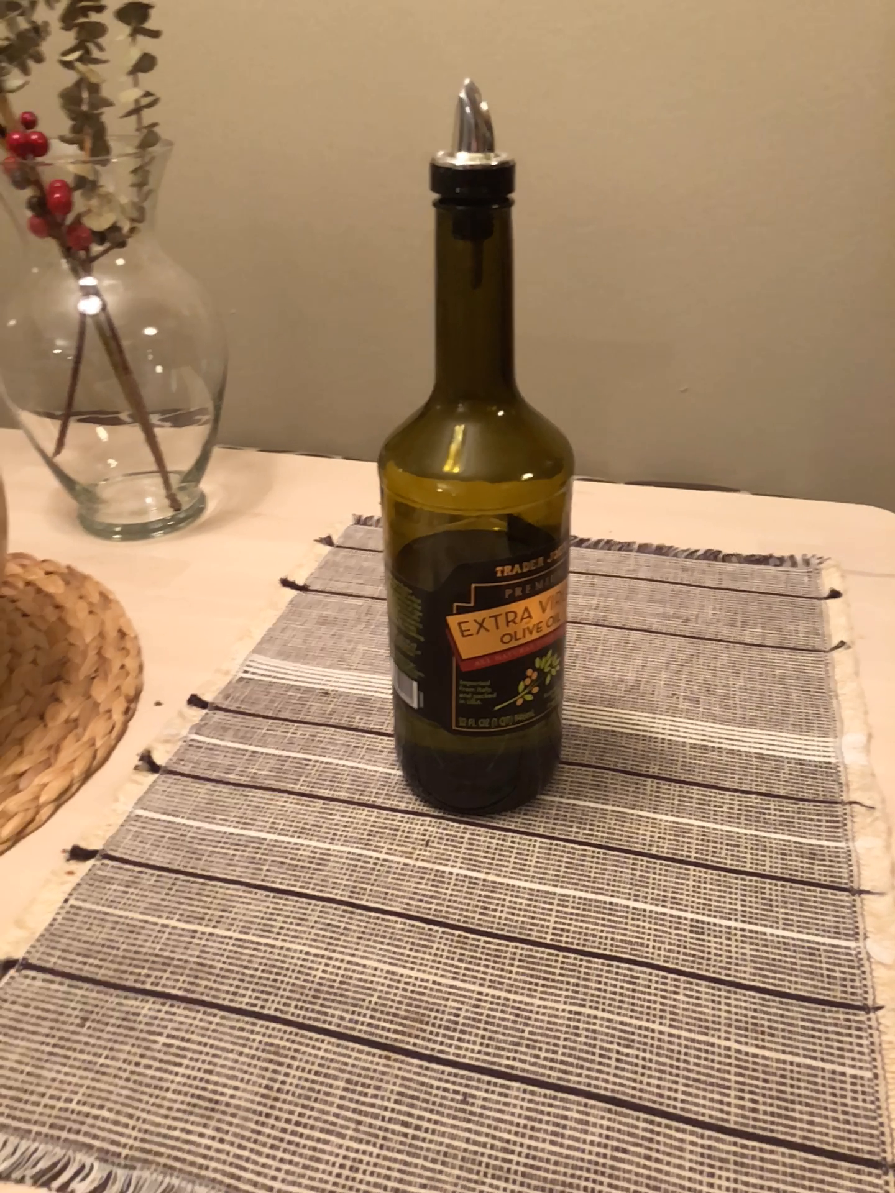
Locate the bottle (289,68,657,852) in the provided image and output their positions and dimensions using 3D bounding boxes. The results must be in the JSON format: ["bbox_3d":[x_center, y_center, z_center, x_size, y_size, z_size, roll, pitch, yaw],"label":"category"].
[{"bbox_3d":[0.011,-0.051,0.420,0.091,0.304,0.095,-1,30,1],"label":"bottle"}]
